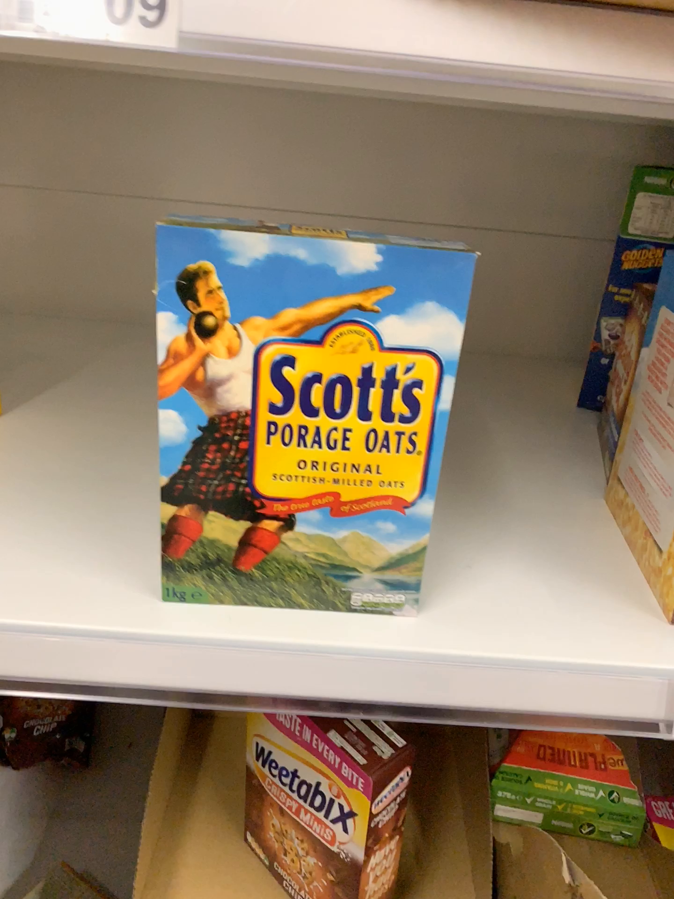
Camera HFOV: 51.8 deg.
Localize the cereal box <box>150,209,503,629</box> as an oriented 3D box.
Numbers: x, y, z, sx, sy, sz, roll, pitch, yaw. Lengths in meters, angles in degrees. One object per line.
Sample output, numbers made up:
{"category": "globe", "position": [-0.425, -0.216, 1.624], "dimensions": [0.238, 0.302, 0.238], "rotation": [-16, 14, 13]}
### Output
{"category": "cereal box", "position": [-0.017, -0.012, 0.479], "dimensions": [0.200, 0.268, 0.071], "rotation": [4, 25, -3]}
